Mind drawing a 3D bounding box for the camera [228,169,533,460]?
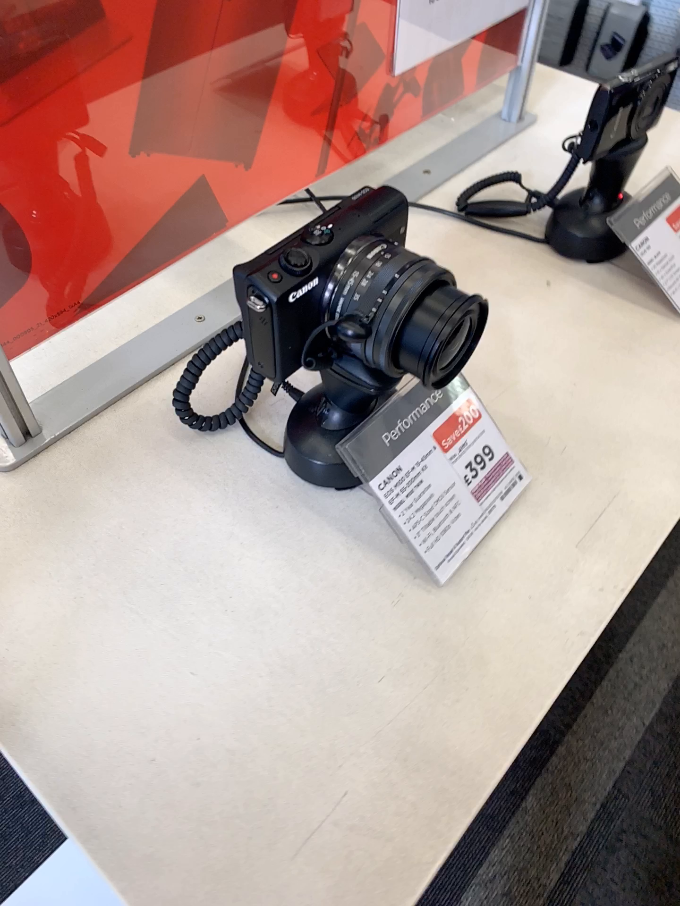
[{"bbox_3d":[0.022,-0.079,0.374,0.100,0.069,0.121,32,57,23],"label":"camera"}]
